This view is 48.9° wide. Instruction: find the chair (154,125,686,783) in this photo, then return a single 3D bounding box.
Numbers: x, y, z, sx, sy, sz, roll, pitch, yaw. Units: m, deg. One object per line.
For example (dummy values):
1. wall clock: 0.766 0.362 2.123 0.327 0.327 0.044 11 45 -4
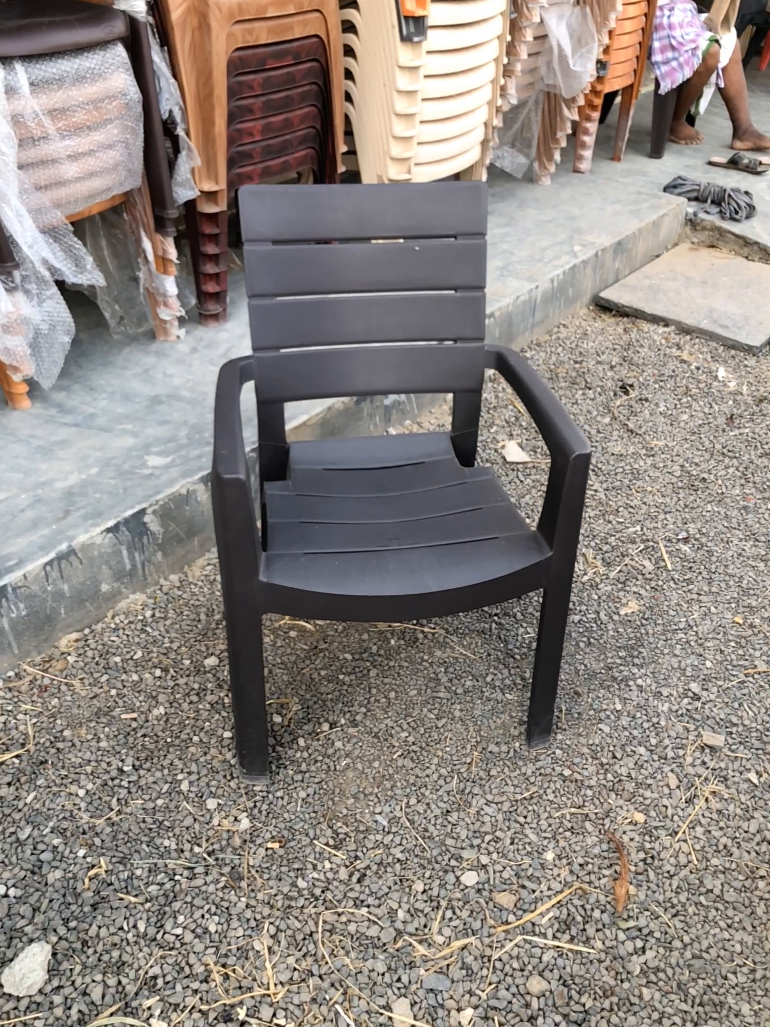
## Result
1. chair: -0.013 -0.123 1.398 0.570 0.796 0.683 -5 38 -8
